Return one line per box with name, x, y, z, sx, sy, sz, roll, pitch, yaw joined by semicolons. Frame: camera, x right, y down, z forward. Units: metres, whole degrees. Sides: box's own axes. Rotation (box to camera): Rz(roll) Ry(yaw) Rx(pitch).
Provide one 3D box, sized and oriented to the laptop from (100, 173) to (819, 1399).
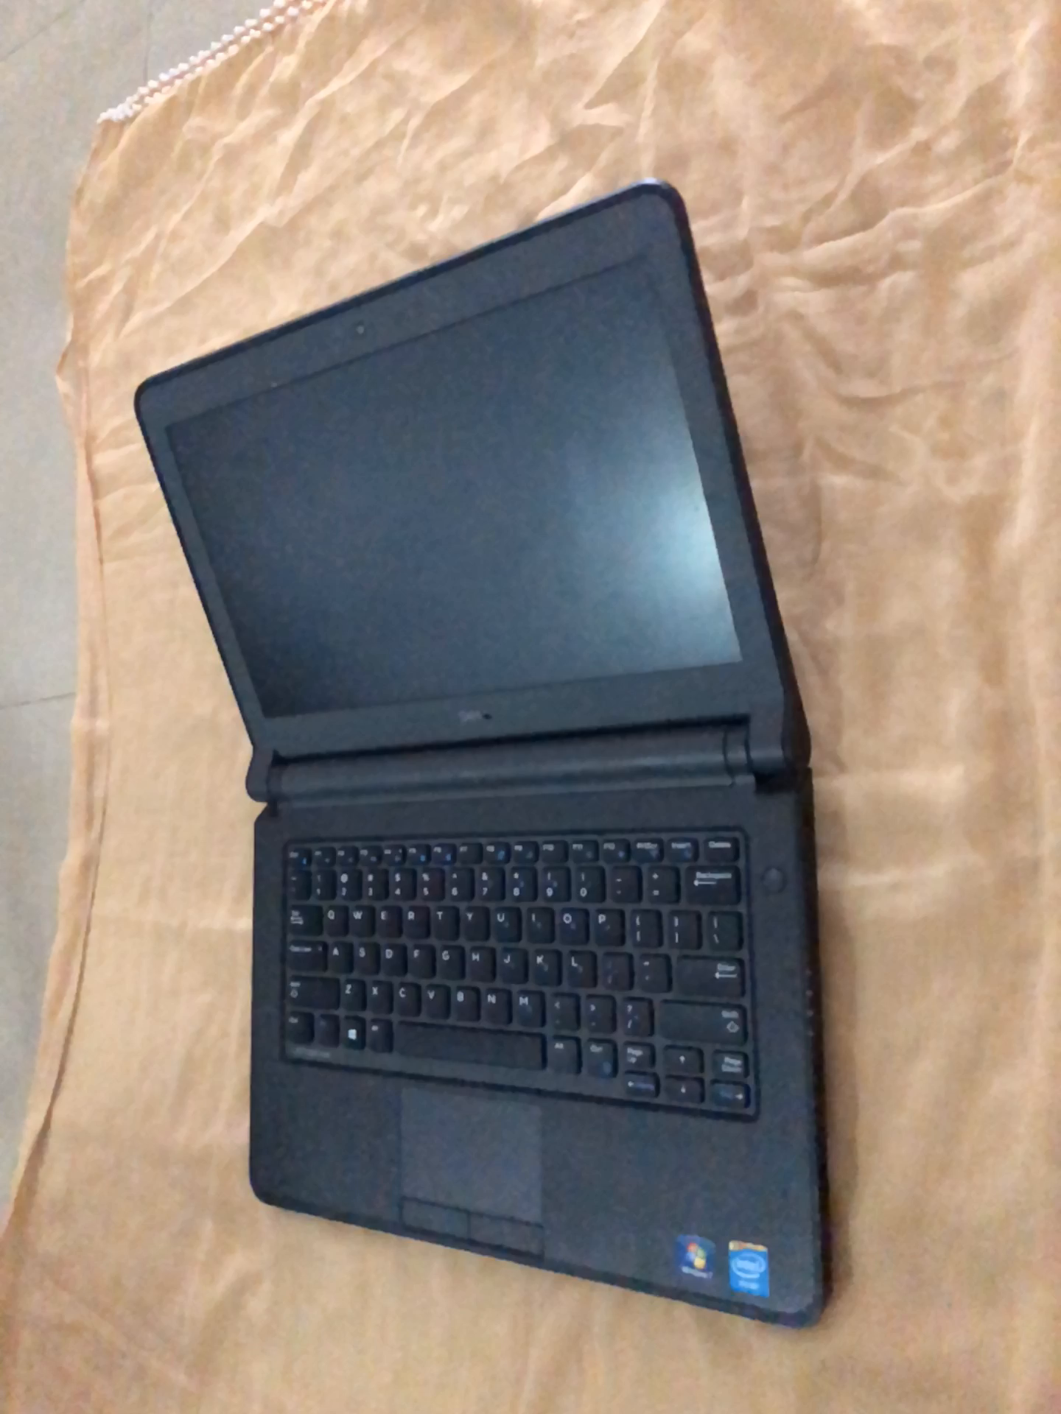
laptop;-0.049;0.032;0.514;0.310;0.092;0.409;-6;81;35
